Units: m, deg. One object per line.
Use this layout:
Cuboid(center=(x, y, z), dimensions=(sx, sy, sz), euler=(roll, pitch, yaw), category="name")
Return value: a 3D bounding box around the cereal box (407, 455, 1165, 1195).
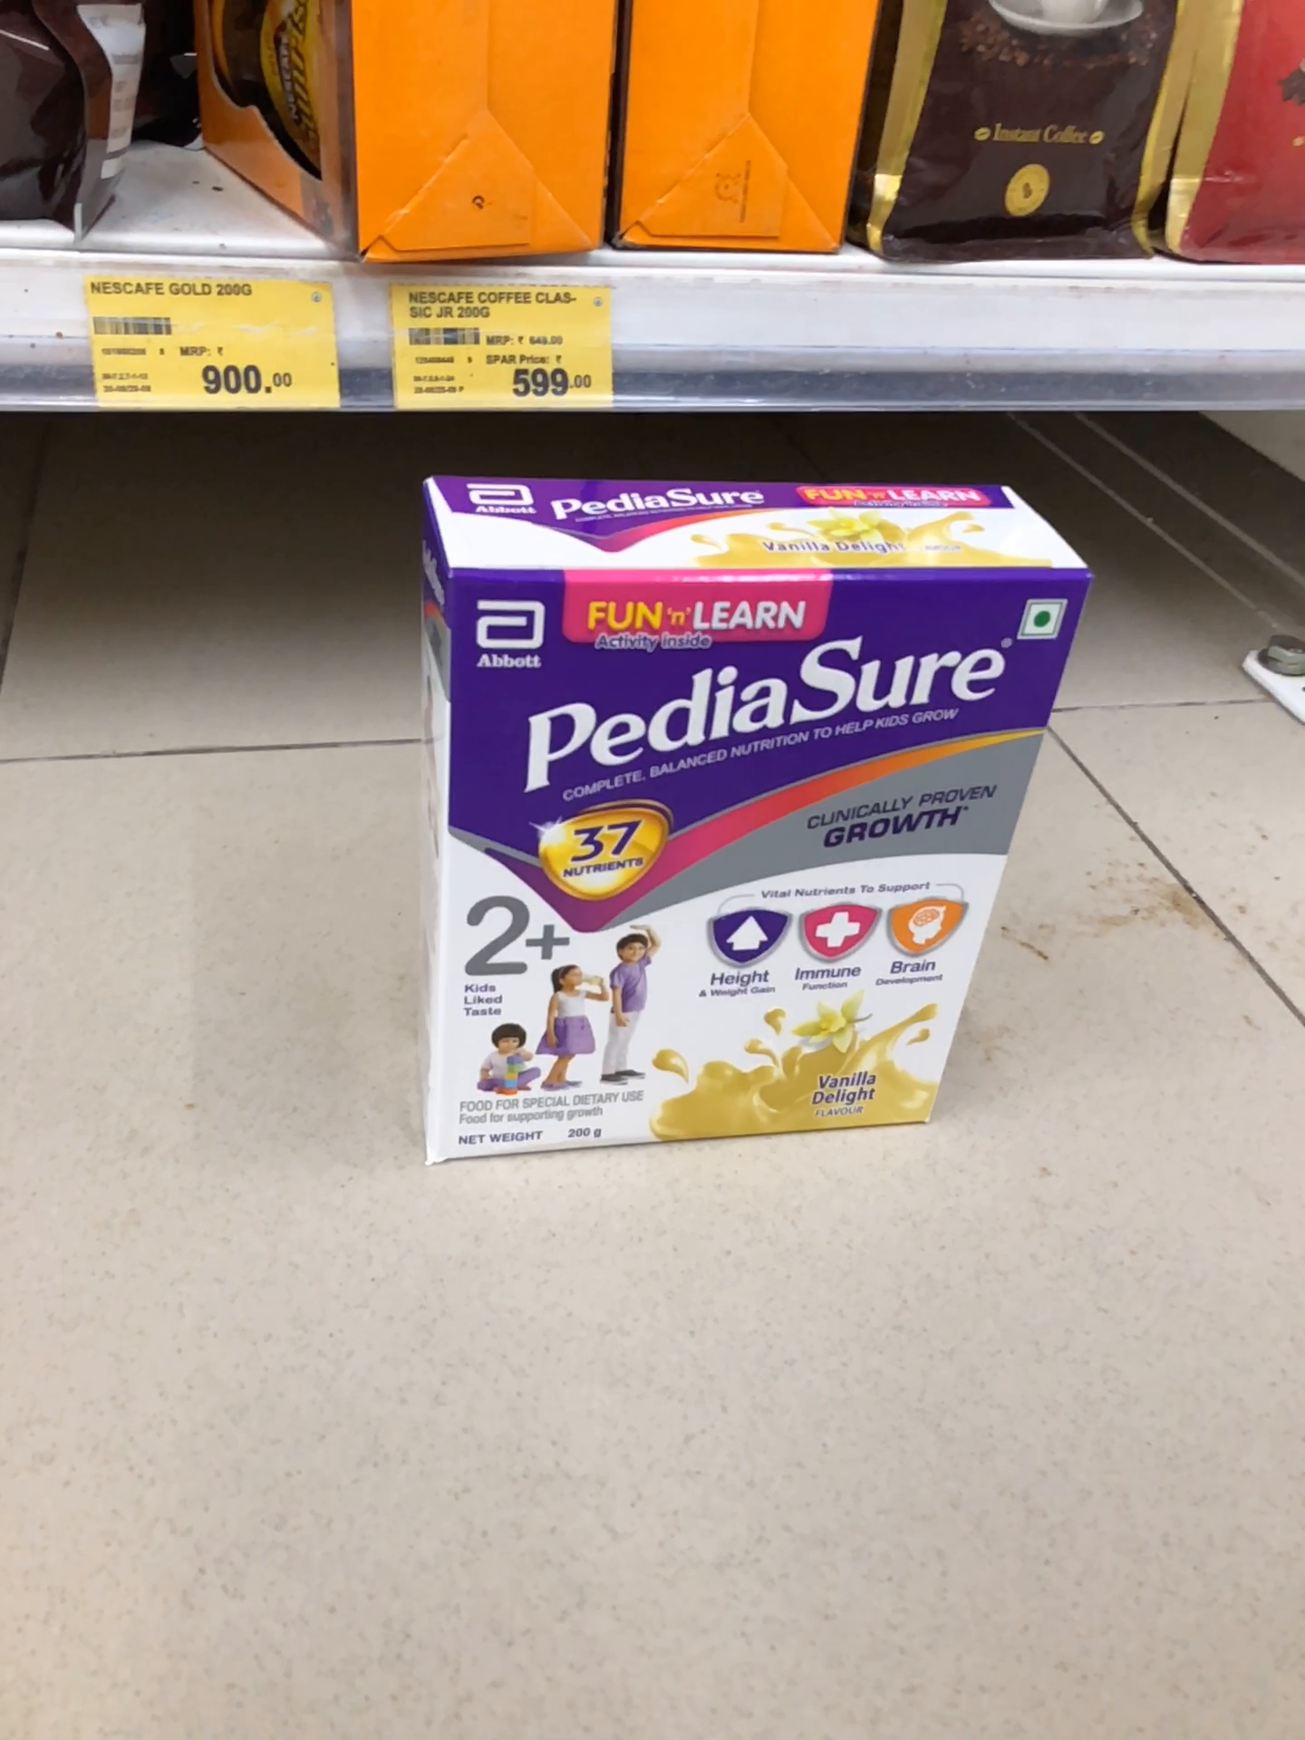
Cuboid(center=(0.017, -0.005, 0.326), dimensions=(0.140, 0.159, 0.050), euler=(-2, 37, -13), category="cereal box")
